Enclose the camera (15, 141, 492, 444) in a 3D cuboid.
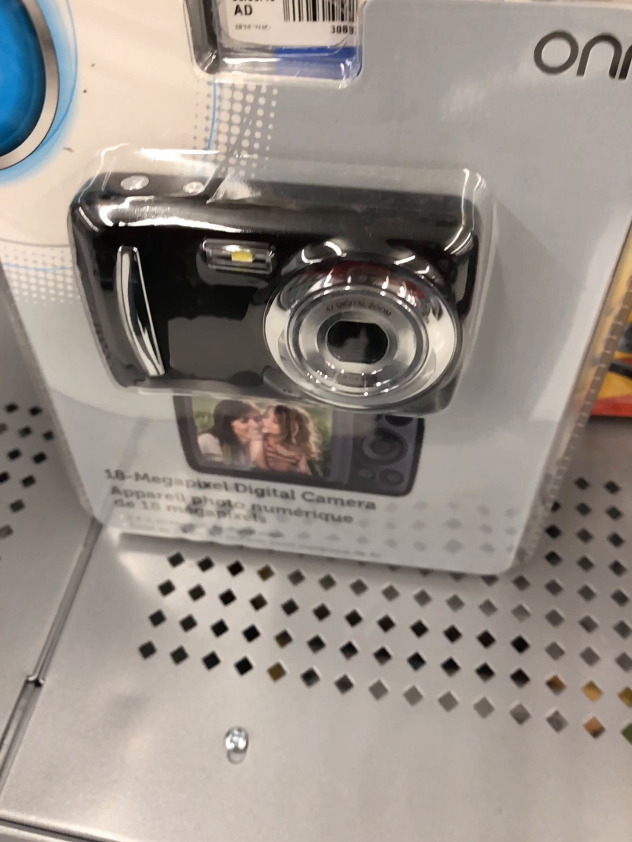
[{"bbox_3d":[-0.012,-0.031,0.179,0.100,0.060,0.030,7,49,7],"label":"camera"}]
